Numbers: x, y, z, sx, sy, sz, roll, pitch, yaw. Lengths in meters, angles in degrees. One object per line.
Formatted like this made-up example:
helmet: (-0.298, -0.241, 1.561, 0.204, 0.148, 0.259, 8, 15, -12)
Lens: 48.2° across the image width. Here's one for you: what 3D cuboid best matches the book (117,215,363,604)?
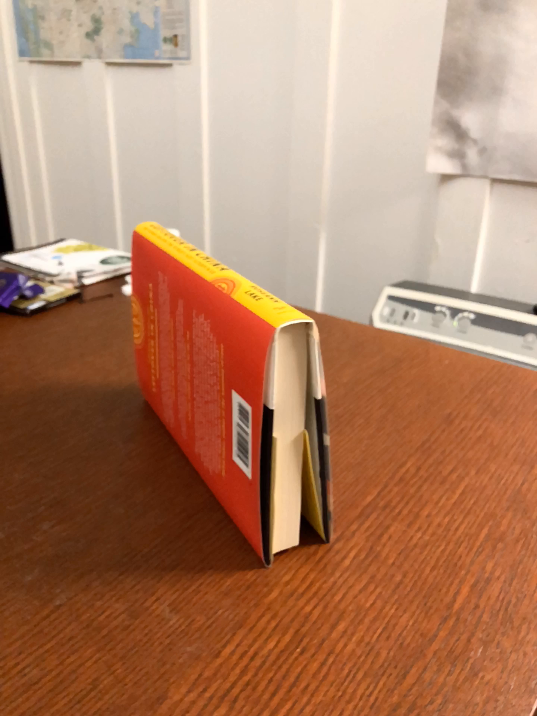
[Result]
book: (-0.040, 0.011, 0.442, 0.060, 0.179, 0.261, -11, 27, -26)
